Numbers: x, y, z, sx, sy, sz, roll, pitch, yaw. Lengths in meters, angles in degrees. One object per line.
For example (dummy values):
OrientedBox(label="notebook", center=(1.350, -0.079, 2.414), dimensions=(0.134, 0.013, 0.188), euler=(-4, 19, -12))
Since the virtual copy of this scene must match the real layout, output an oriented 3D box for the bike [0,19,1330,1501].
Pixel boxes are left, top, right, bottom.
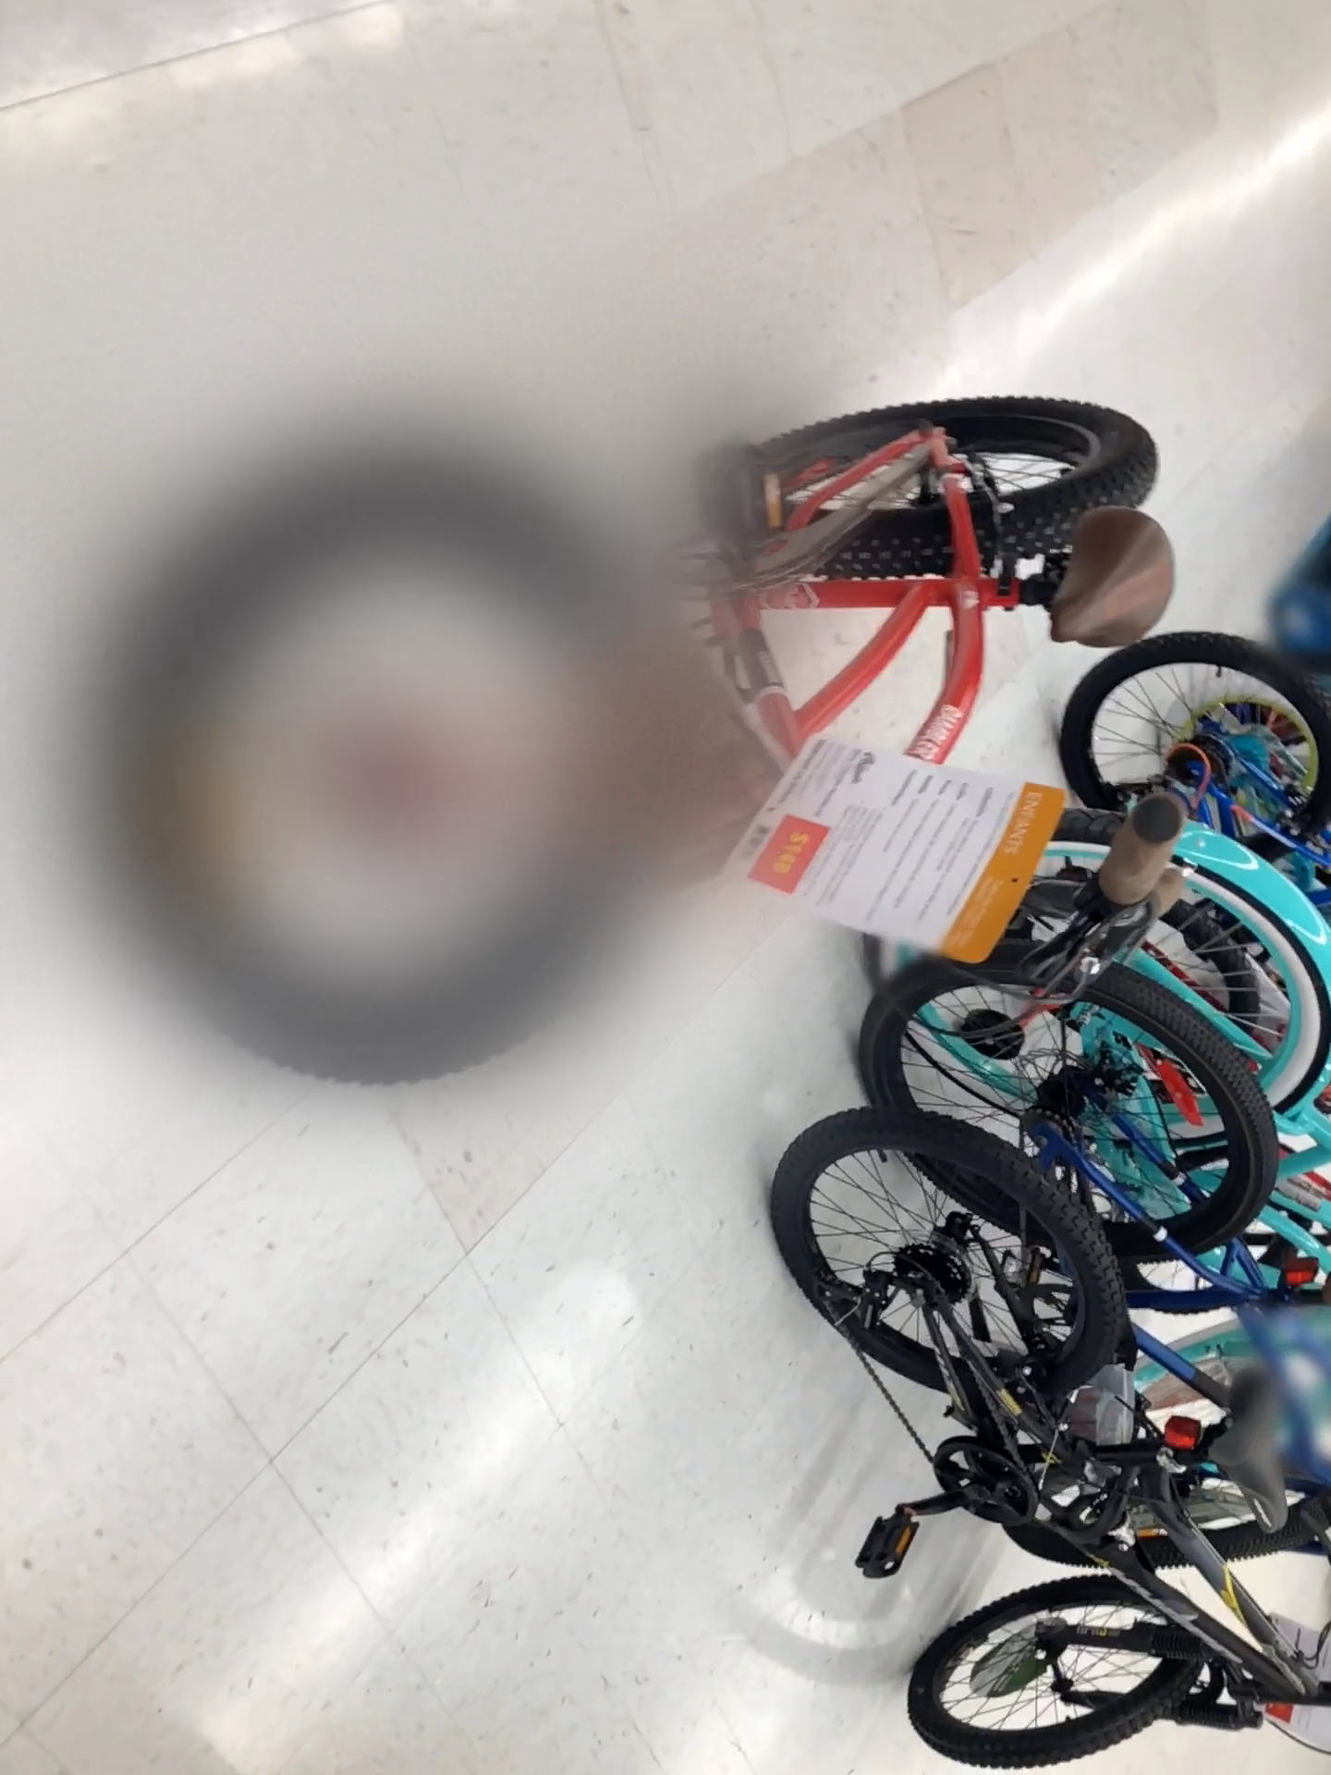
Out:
OrientedBox(label="bike", center=(0.200, -0.249, 1.488), dimensions=(1.362, 0.967, 0.608), euler=(-42, 124, -34))
